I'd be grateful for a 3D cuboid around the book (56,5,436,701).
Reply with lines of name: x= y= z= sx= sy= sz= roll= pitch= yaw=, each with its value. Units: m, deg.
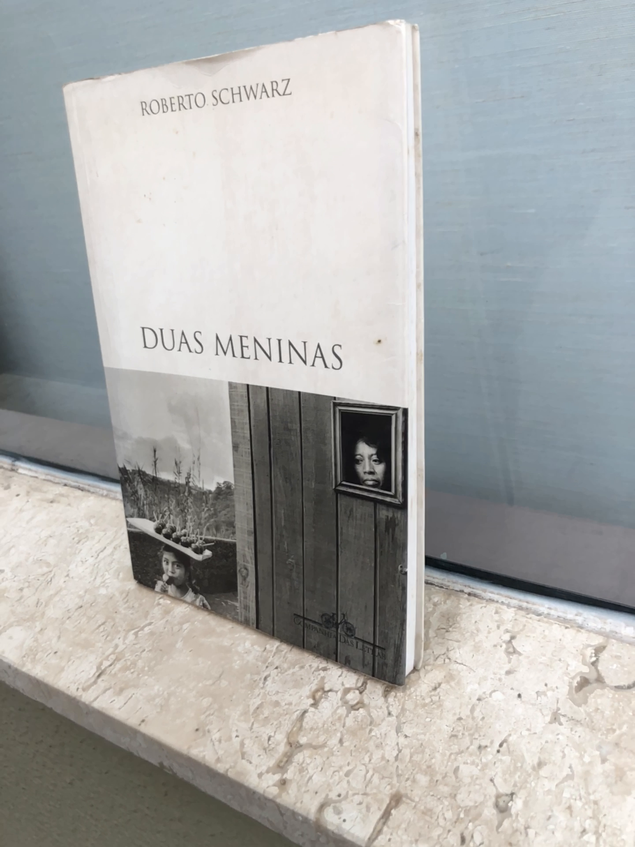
book: x=-0.026 y=-0.017 z=0.250 sx=0.139 sy=0.205 sz=0.016 roll=9 pitch=22 yaw=35
